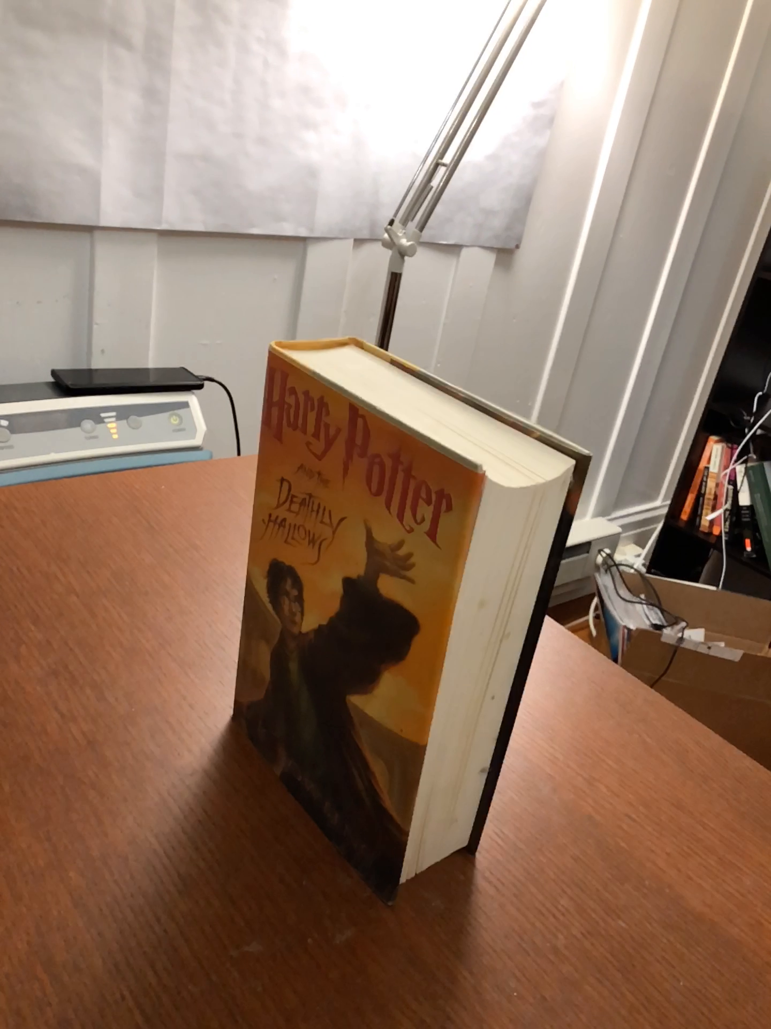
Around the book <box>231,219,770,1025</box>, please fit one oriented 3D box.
[{"bbox_3d":[0.023,0.040,0.399,0.070,0.298,0.211,-12,34,-38],"label":"book"}]
